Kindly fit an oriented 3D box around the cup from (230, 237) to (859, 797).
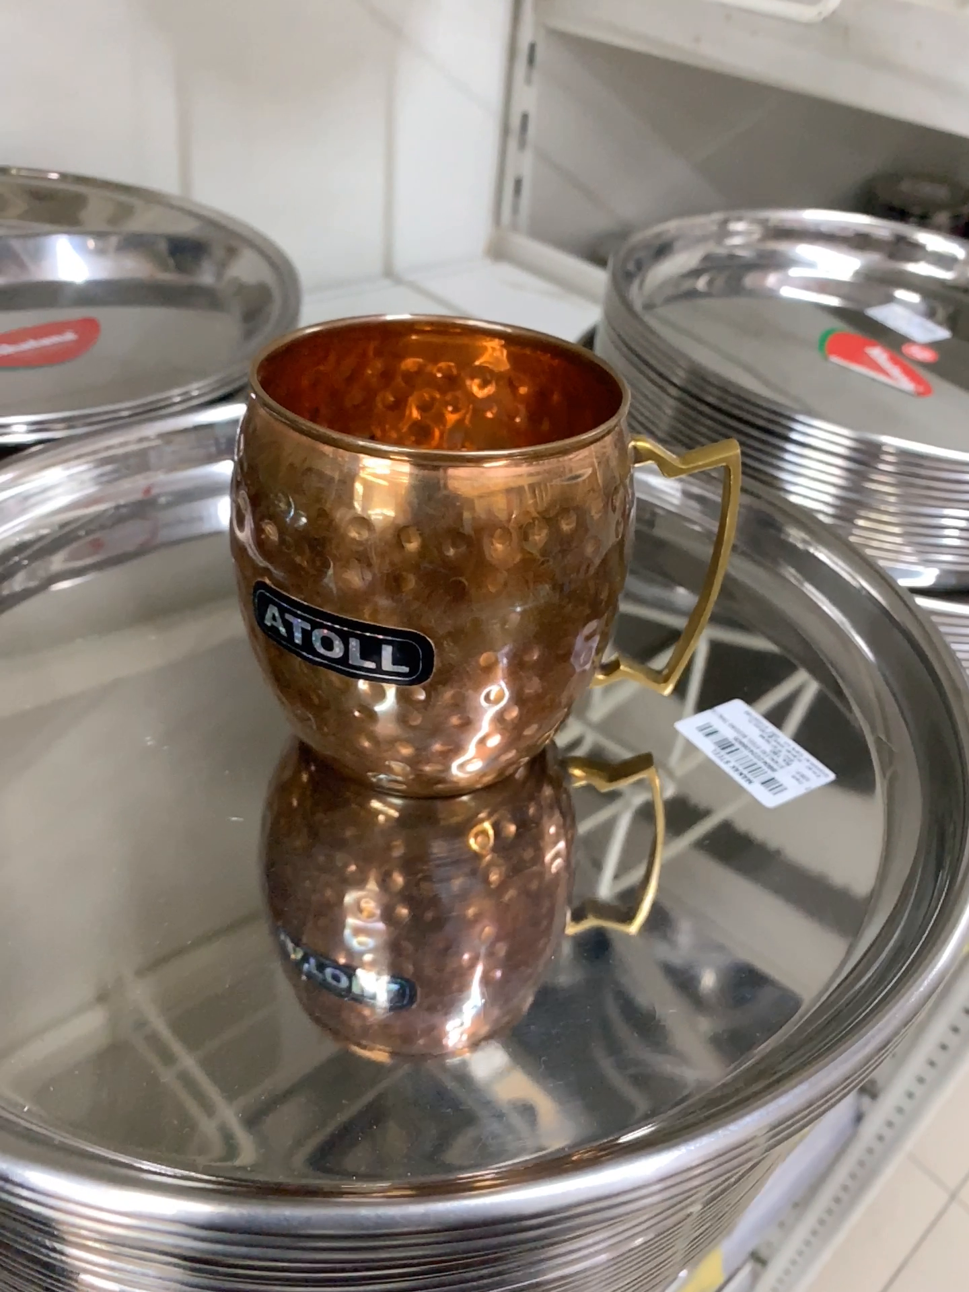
[{"bbox_3d":[0.007,-0.032,0.239,0.110,0.090,0.090,4,39,-3],"label":"cup"}]
